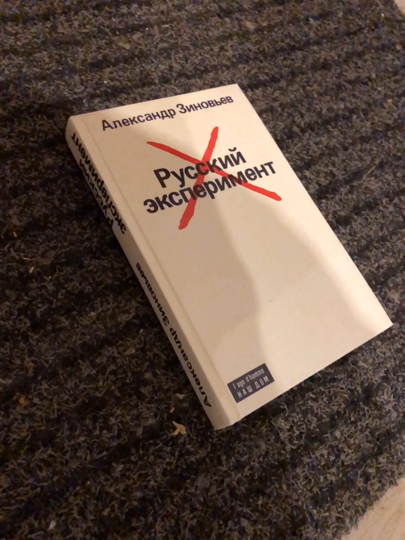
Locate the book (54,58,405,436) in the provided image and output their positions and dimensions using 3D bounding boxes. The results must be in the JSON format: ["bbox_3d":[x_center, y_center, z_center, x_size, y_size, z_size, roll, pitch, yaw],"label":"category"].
[{"bbox_3d":[0.011,-0.027,0.255,0.120,0.040,0.190,-22,74,-26],"label":"book"}]
